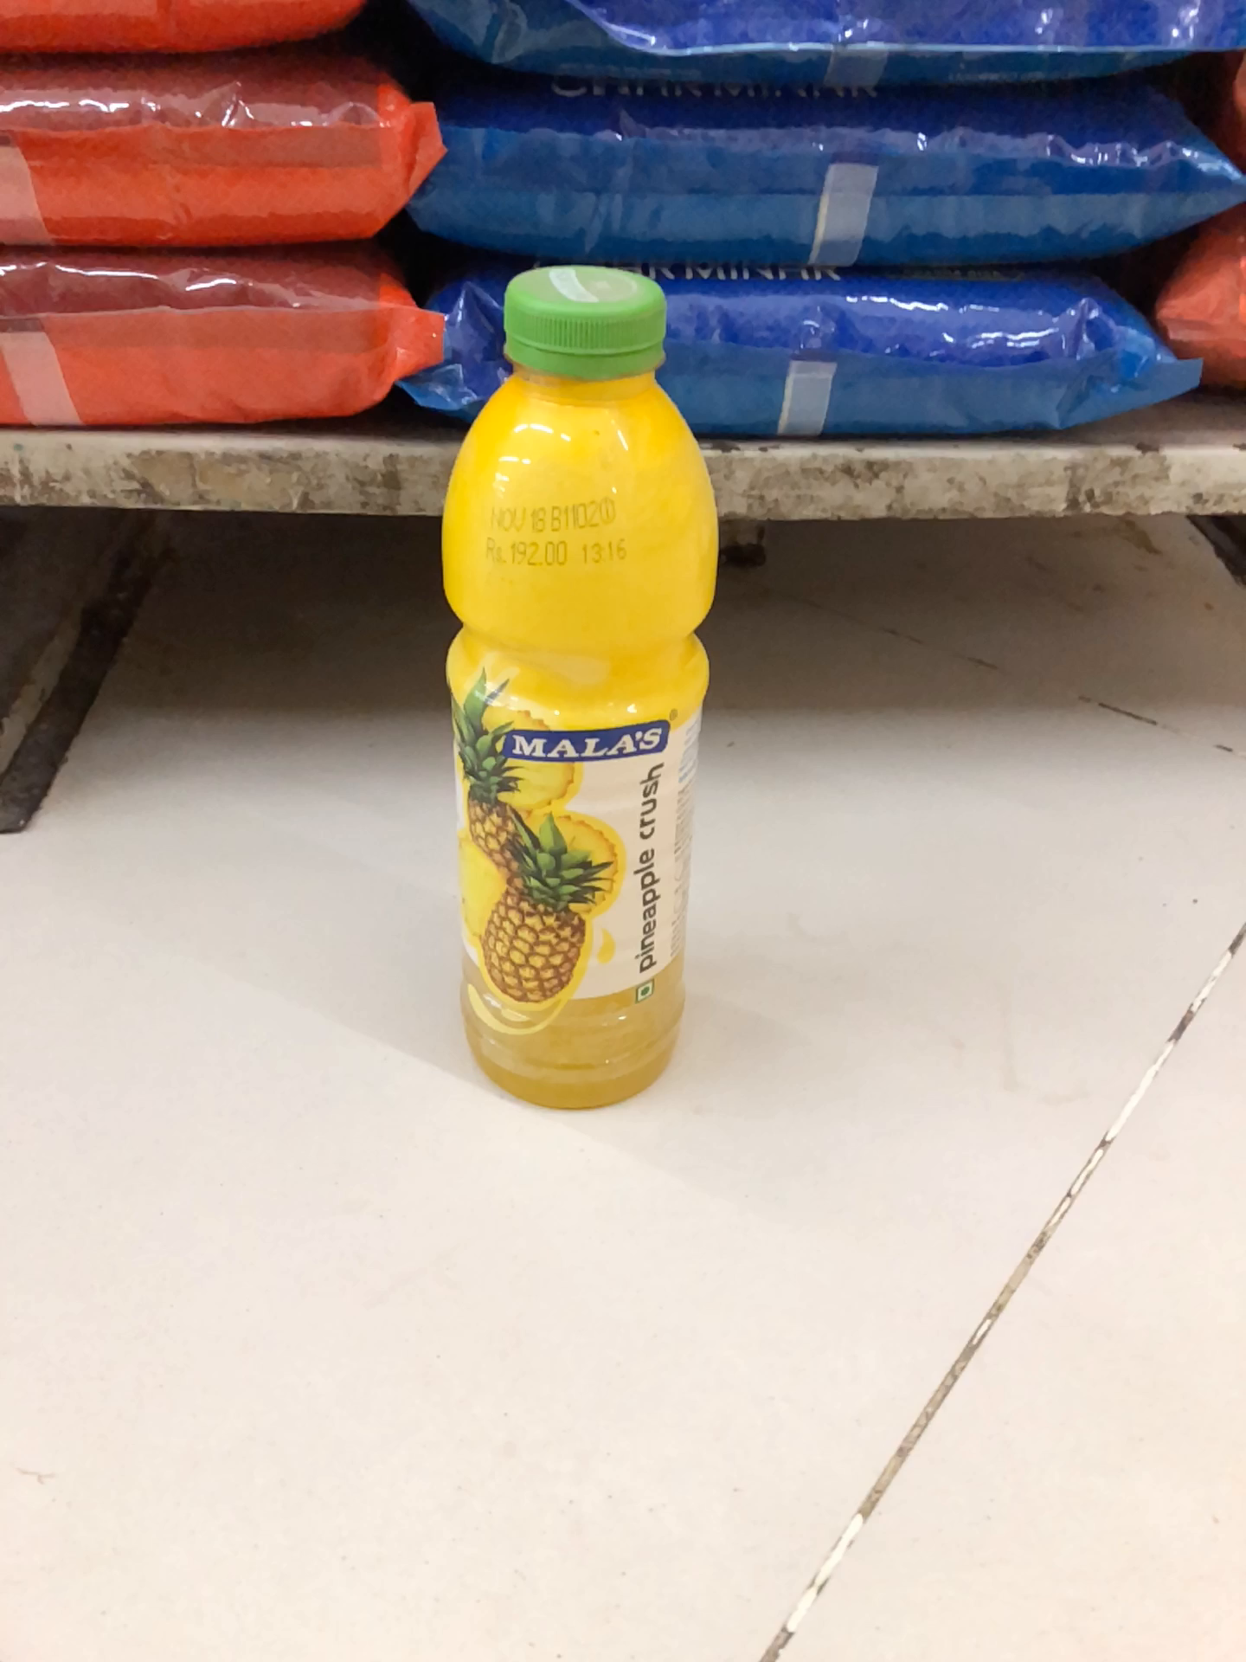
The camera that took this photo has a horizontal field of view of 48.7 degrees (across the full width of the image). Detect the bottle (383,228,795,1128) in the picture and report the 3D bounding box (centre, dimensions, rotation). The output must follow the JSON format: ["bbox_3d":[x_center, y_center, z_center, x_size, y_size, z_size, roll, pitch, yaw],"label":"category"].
[{"bbox_3d":[-0.016,-0.035,0.408,0.090,0.248,0.091,1,36,-1],"label":"bottle"}]
